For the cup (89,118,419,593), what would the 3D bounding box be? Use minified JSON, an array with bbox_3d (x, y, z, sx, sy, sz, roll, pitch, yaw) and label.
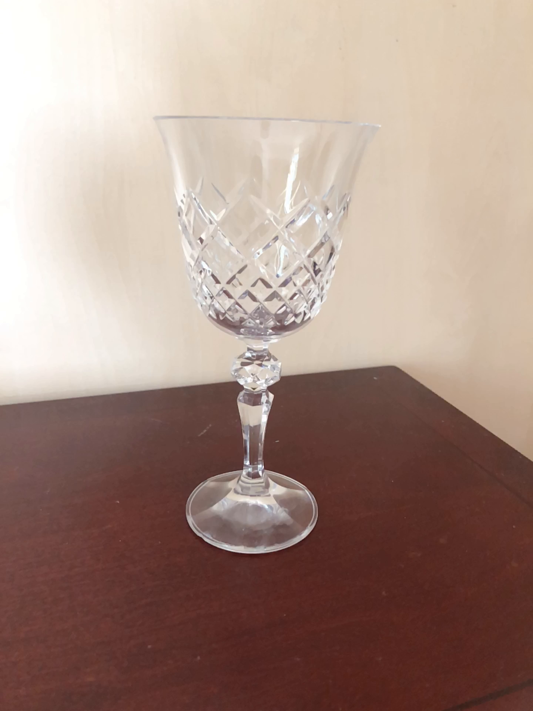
[{"bbox_3d":[-0.007,-0.011,0.261,0.091,0.171,0.092,2,20,-1],"label":"cup"}]
